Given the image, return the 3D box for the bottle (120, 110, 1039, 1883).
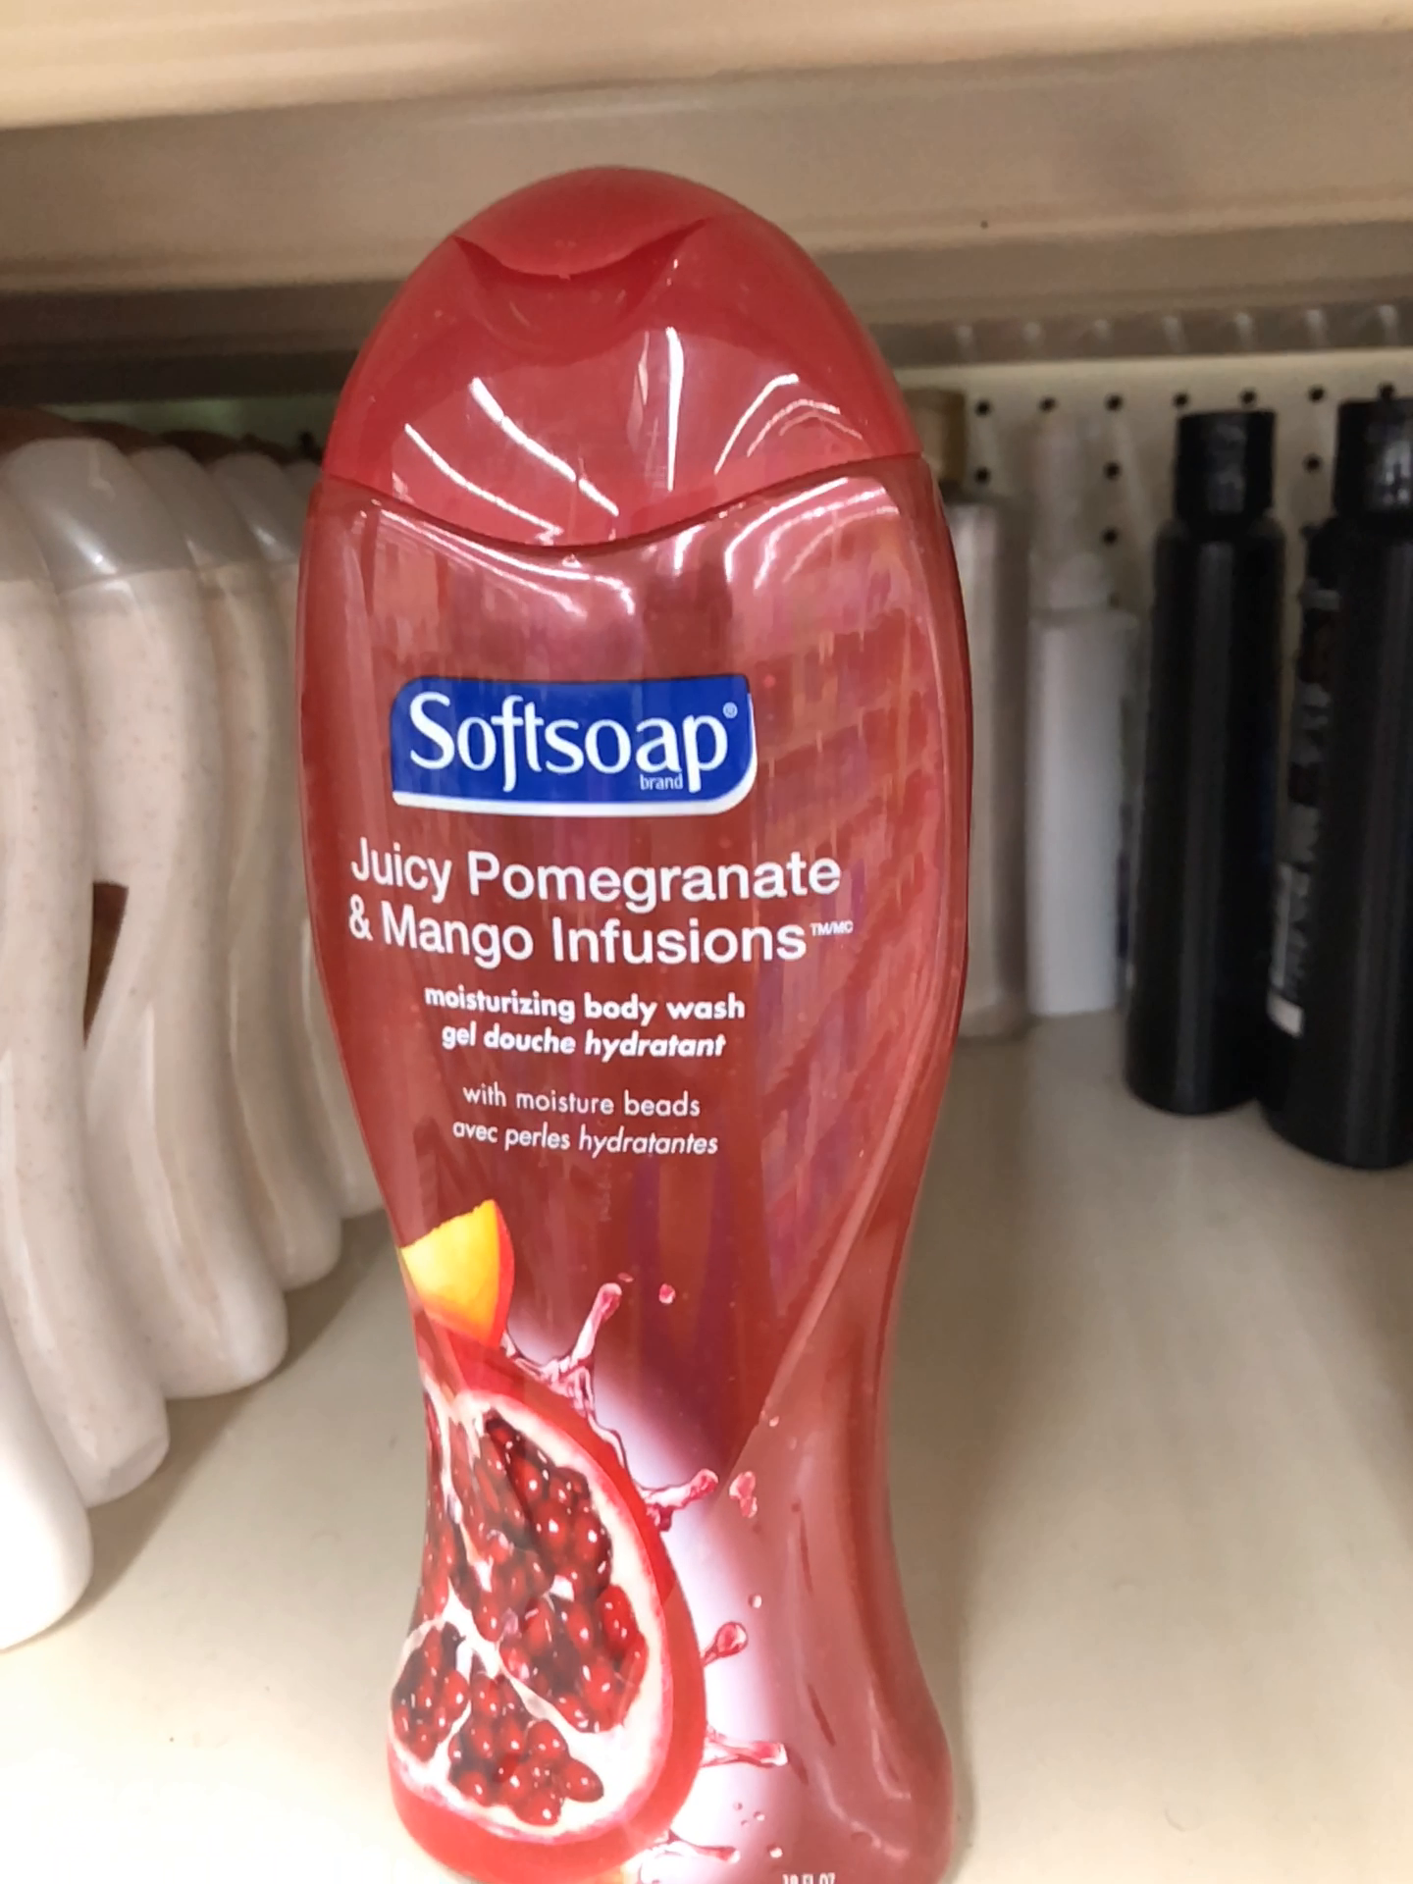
[{"bbox_3d":[-0.007,0.024,0.216,0.090,0.229,0.060,4,17,19],"label":"bottle"}]
